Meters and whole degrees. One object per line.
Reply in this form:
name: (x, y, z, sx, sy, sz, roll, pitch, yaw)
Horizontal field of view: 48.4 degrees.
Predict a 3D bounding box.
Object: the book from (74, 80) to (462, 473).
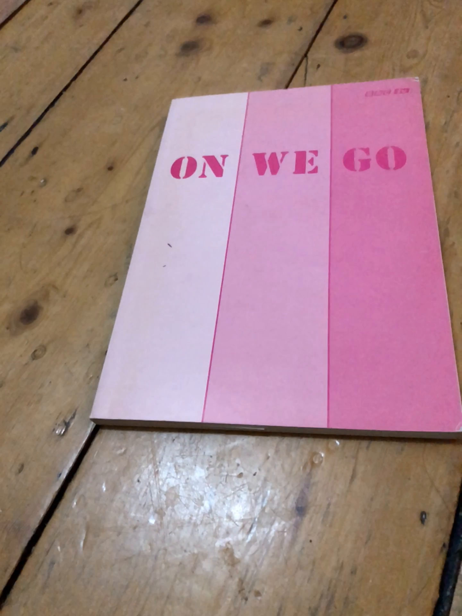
book: (0.025, -0.034, 0.268, 0.160, 0.020, 0.221, 0, 58, 11)
